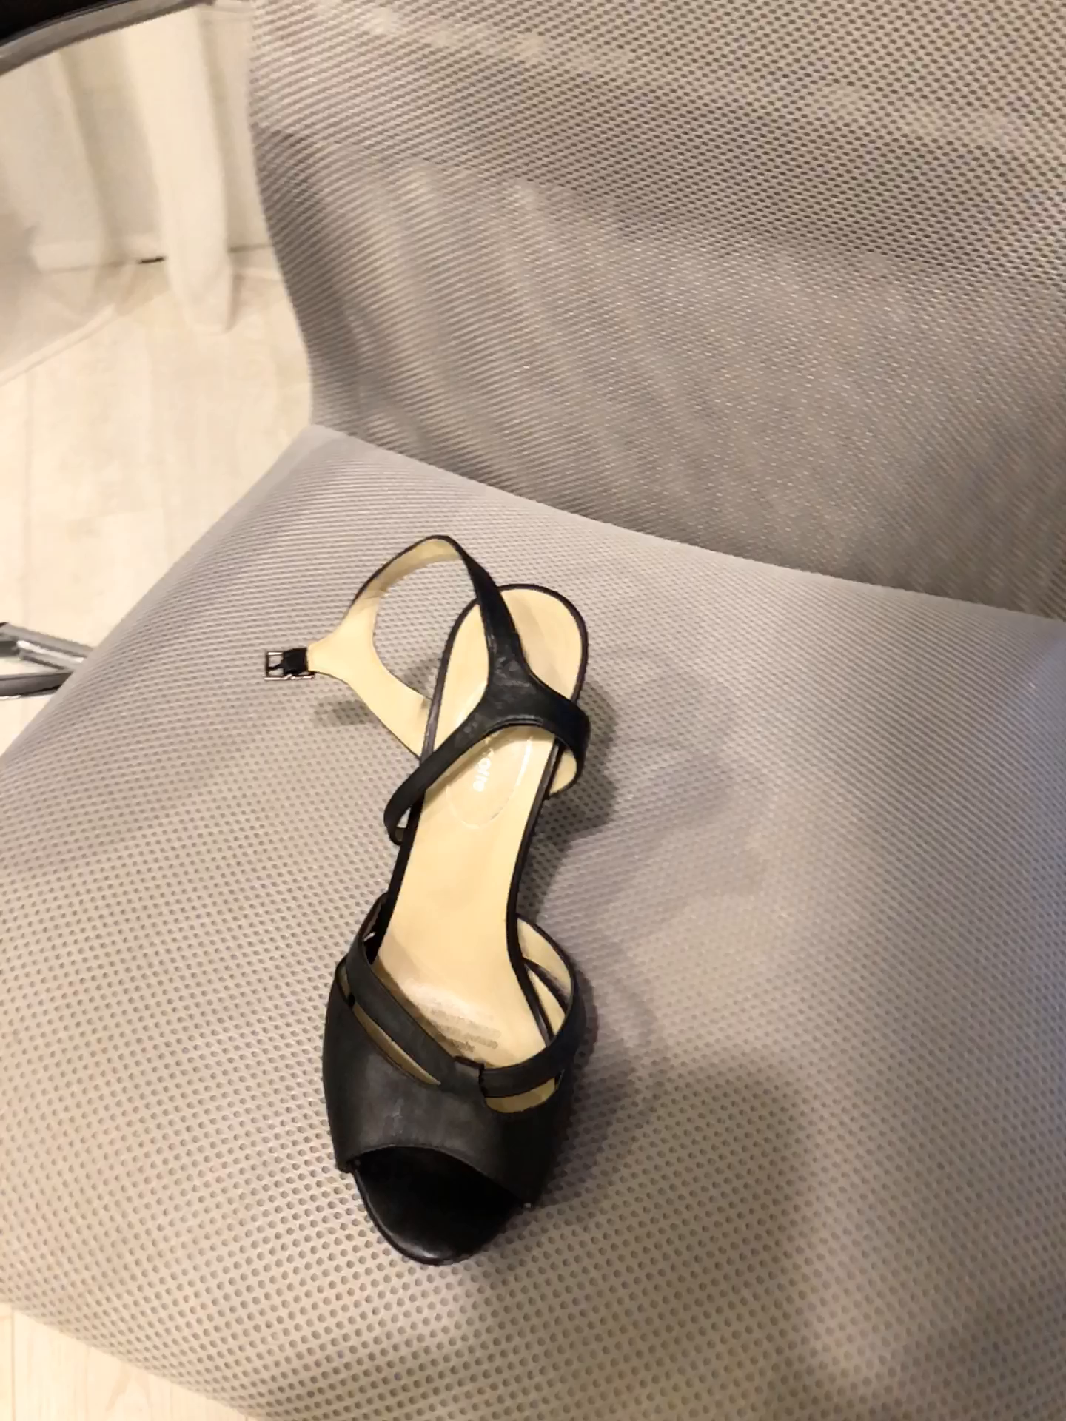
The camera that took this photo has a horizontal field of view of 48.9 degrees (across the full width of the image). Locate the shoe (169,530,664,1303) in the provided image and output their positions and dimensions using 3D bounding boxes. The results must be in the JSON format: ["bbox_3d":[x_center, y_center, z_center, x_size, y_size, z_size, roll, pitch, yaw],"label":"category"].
[{"bbox_3d":[-0.022,0.062,0.393,0.090,0.119,0.211,10,53,8],"label":"shoe"}]
